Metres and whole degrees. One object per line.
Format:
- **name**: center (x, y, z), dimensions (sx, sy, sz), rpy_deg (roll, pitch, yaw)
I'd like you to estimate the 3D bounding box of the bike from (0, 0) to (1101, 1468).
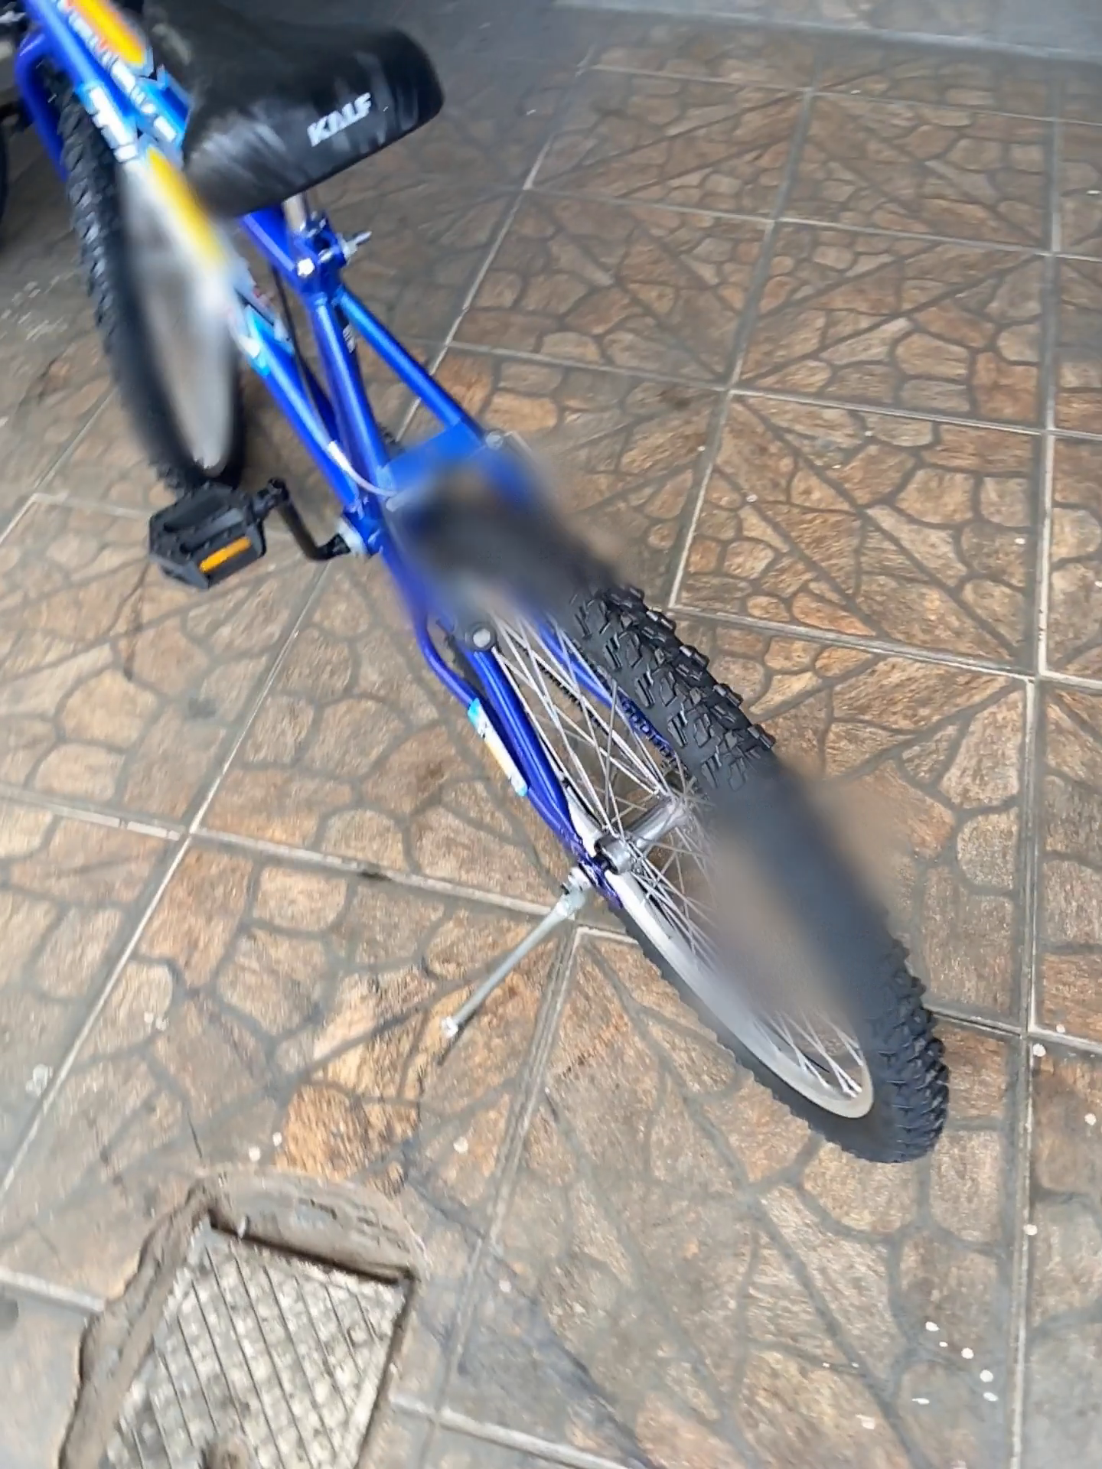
- **bike**: center (-0.175, -0.354, 0.938), dimensions (0.623, 0.924, 1.491), rpy_deg (-27, 59, -18)
